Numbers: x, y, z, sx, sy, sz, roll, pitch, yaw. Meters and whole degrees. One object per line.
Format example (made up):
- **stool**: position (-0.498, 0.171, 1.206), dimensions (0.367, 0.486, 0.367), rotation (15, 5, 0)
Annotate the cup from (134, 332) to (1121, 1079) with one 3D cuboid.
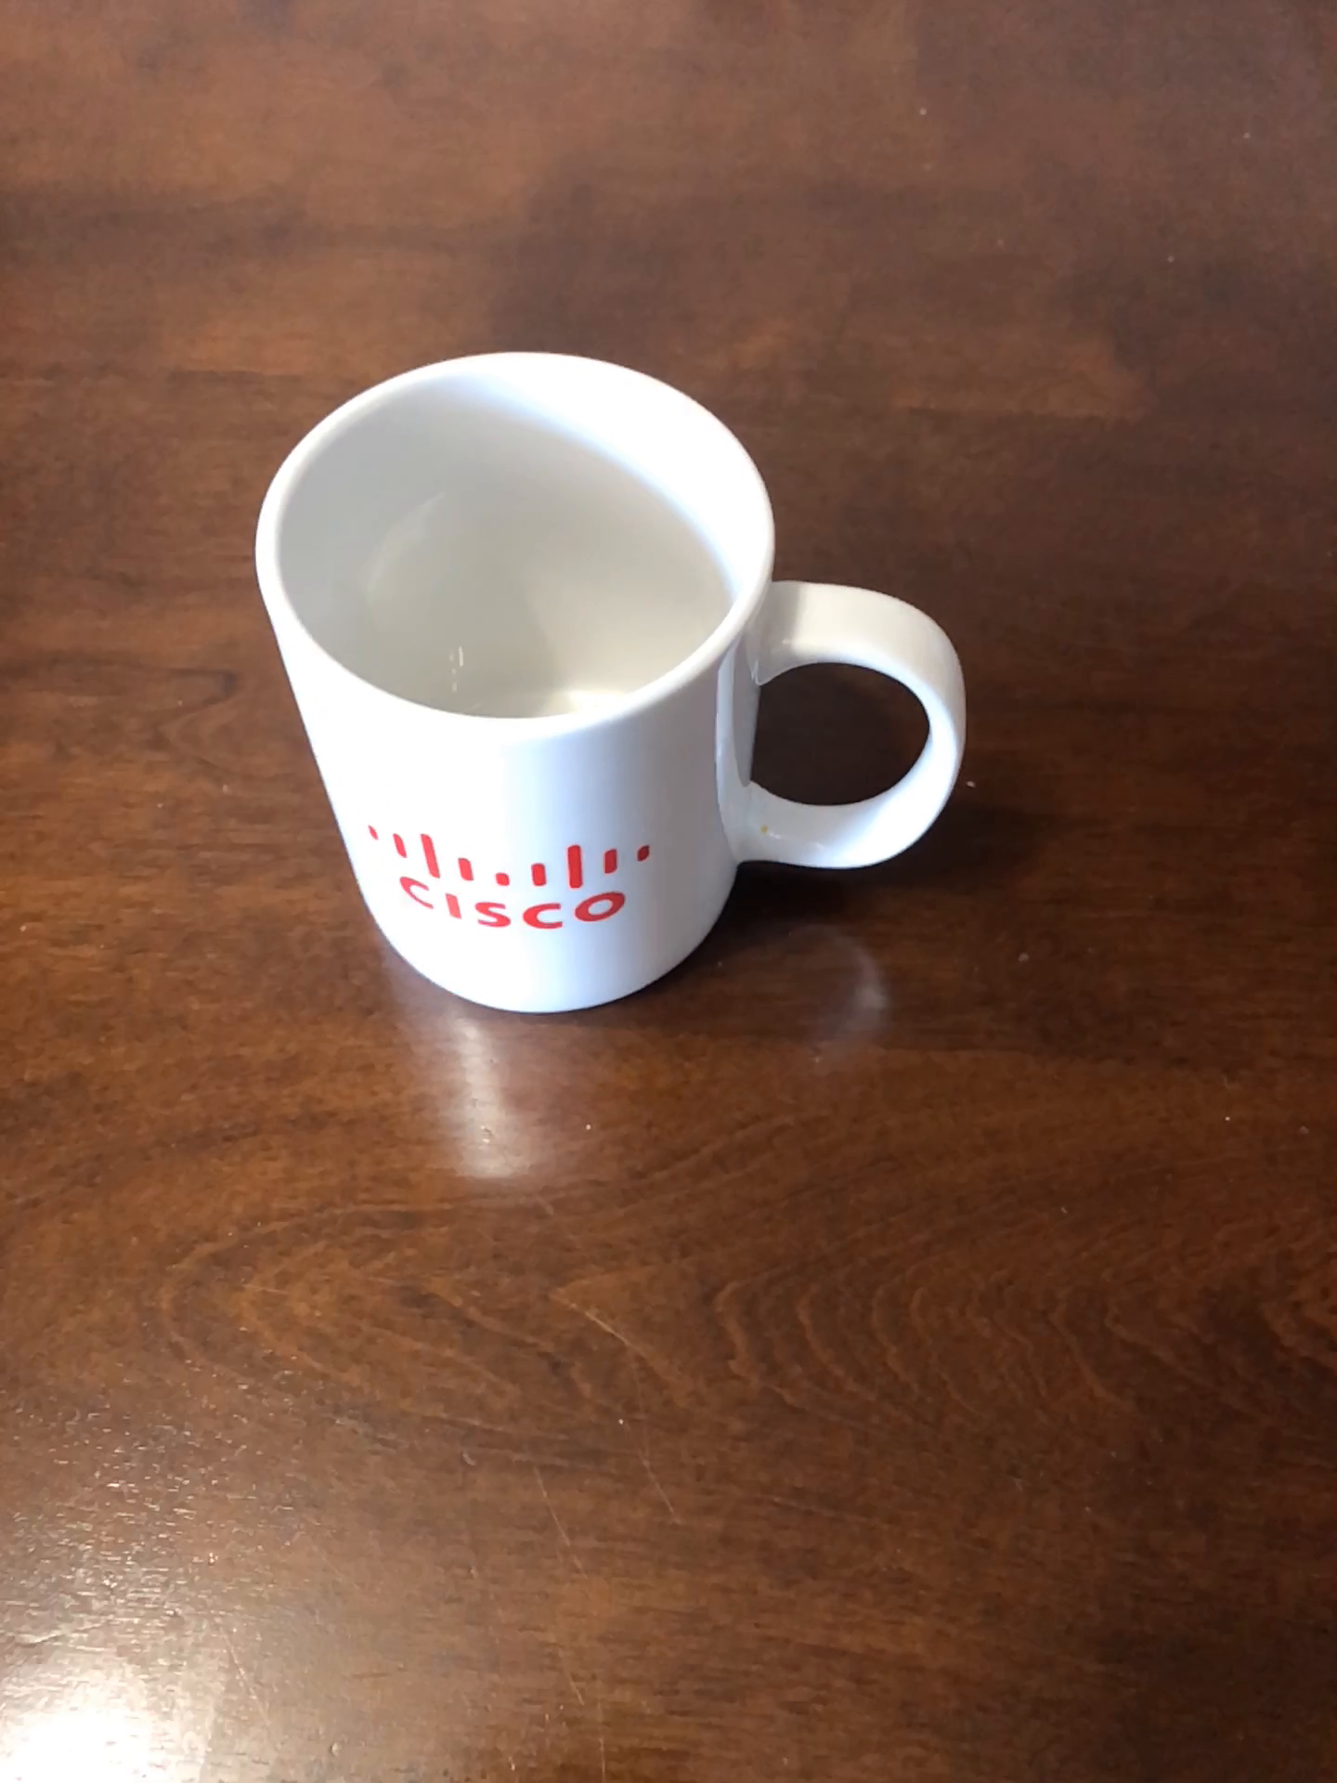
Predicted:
- **cup**: position (-0.003, -0.028, 0.255), dimensions (0.130, 0.090, 0.080), rotation (4, 59, 2)
